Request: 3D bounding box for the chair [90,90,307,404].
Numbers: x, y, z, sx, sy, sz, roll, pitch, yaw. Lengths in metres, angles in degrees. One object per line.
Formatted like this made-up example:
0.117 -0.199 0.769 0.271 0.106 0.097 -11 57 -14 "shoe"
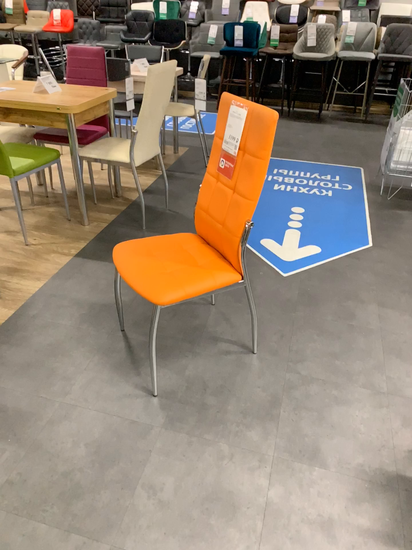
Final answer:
-0.062 -0.115 1.630 0.541 1.014 0.492 -13 36 -23 "chair"
